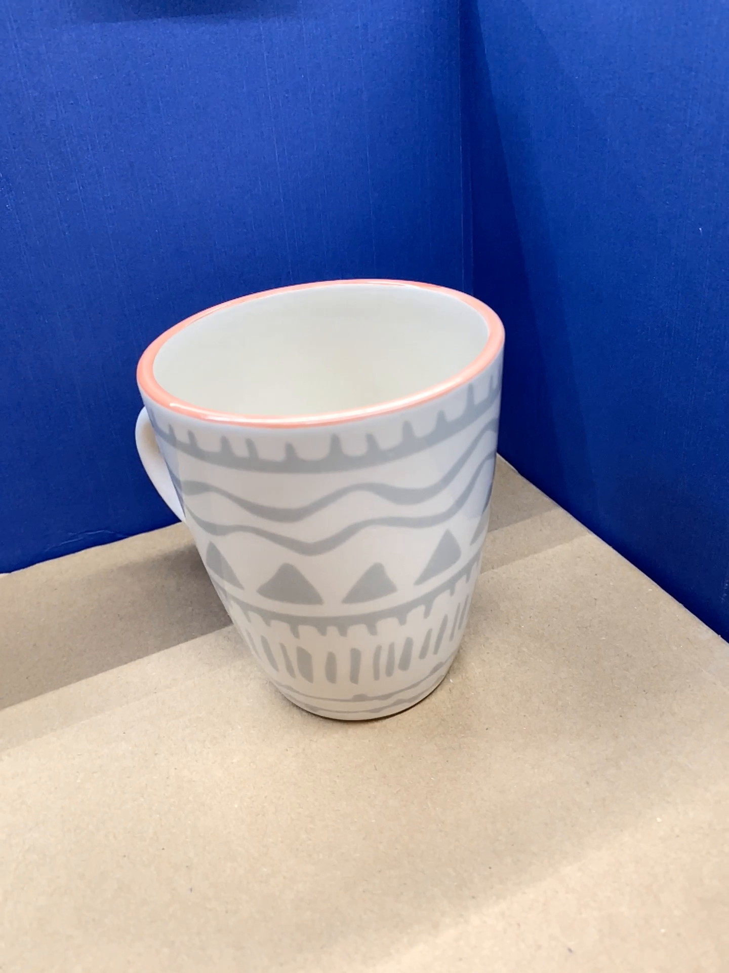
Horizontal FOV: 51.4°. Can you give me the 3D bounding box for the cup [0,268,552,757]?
[{"bbox_3d":[-0.019,-0.006,0.215,0.119,0.082,0.097,9,33,23],"label":"cup"}]
